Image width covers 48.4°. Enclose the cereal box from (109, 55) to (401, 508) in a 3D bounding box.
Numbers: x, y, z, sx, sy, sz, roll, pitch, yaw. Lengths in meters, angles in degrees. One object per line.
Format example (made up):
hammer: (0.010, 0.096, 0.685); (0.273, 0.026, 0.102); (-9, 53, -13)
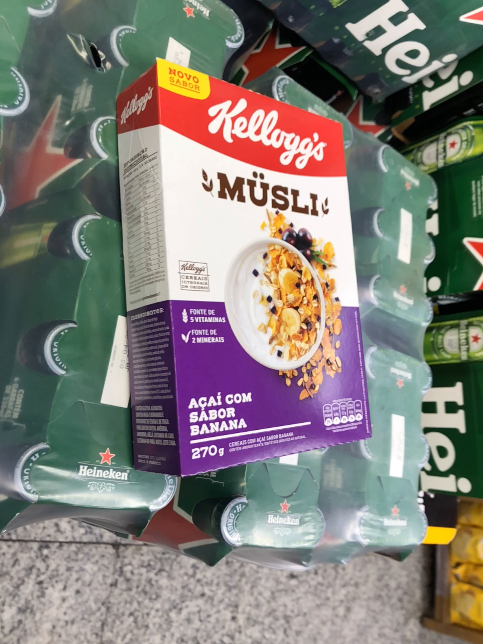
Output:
cereal box: (0.014, -0.018, 0.285); (0.151, 0.040, 0.190); (0, 83, -39)
